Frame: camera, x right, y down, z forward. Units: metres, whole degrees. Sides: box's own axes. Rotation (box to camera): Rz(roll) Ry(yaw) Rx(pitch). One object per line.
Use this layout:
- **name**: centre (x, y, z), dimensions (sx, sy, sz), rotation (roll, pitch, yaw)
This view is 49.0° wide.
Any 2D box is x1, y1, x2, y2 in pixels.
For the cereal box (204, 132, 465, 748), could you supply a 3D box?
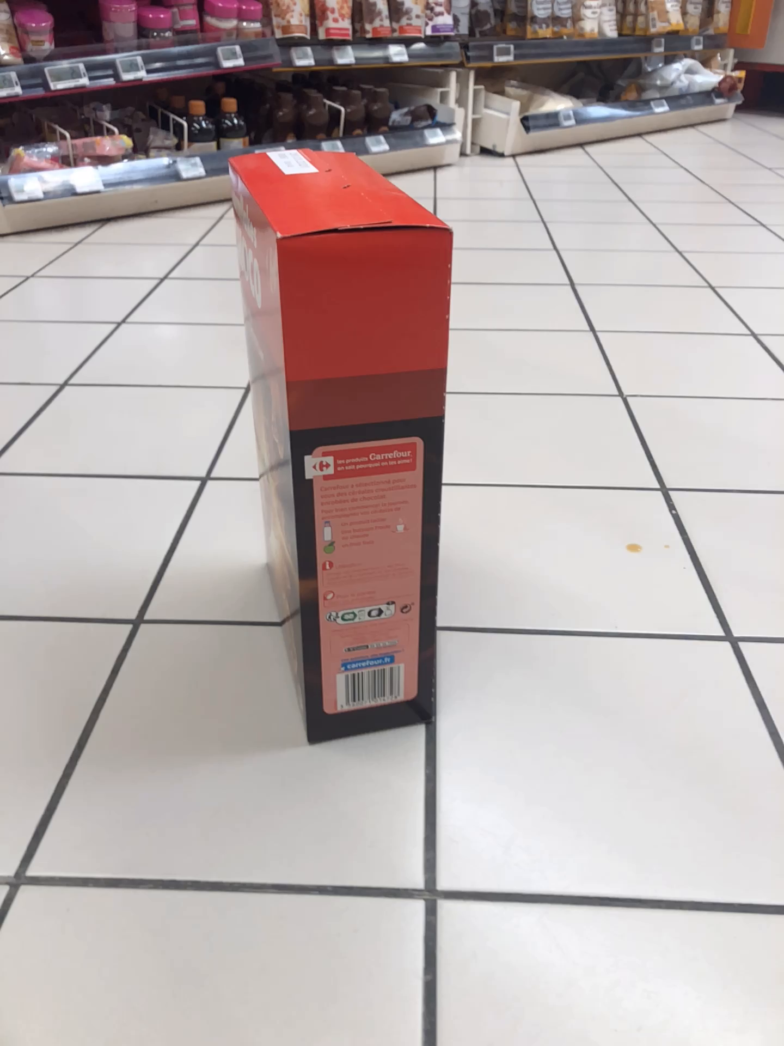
- **cereal box**: centre (-0.039, -0.055, 0.485), dimensions (0.090, 0.278, 0.201), rotation (-7, 32, -12)
